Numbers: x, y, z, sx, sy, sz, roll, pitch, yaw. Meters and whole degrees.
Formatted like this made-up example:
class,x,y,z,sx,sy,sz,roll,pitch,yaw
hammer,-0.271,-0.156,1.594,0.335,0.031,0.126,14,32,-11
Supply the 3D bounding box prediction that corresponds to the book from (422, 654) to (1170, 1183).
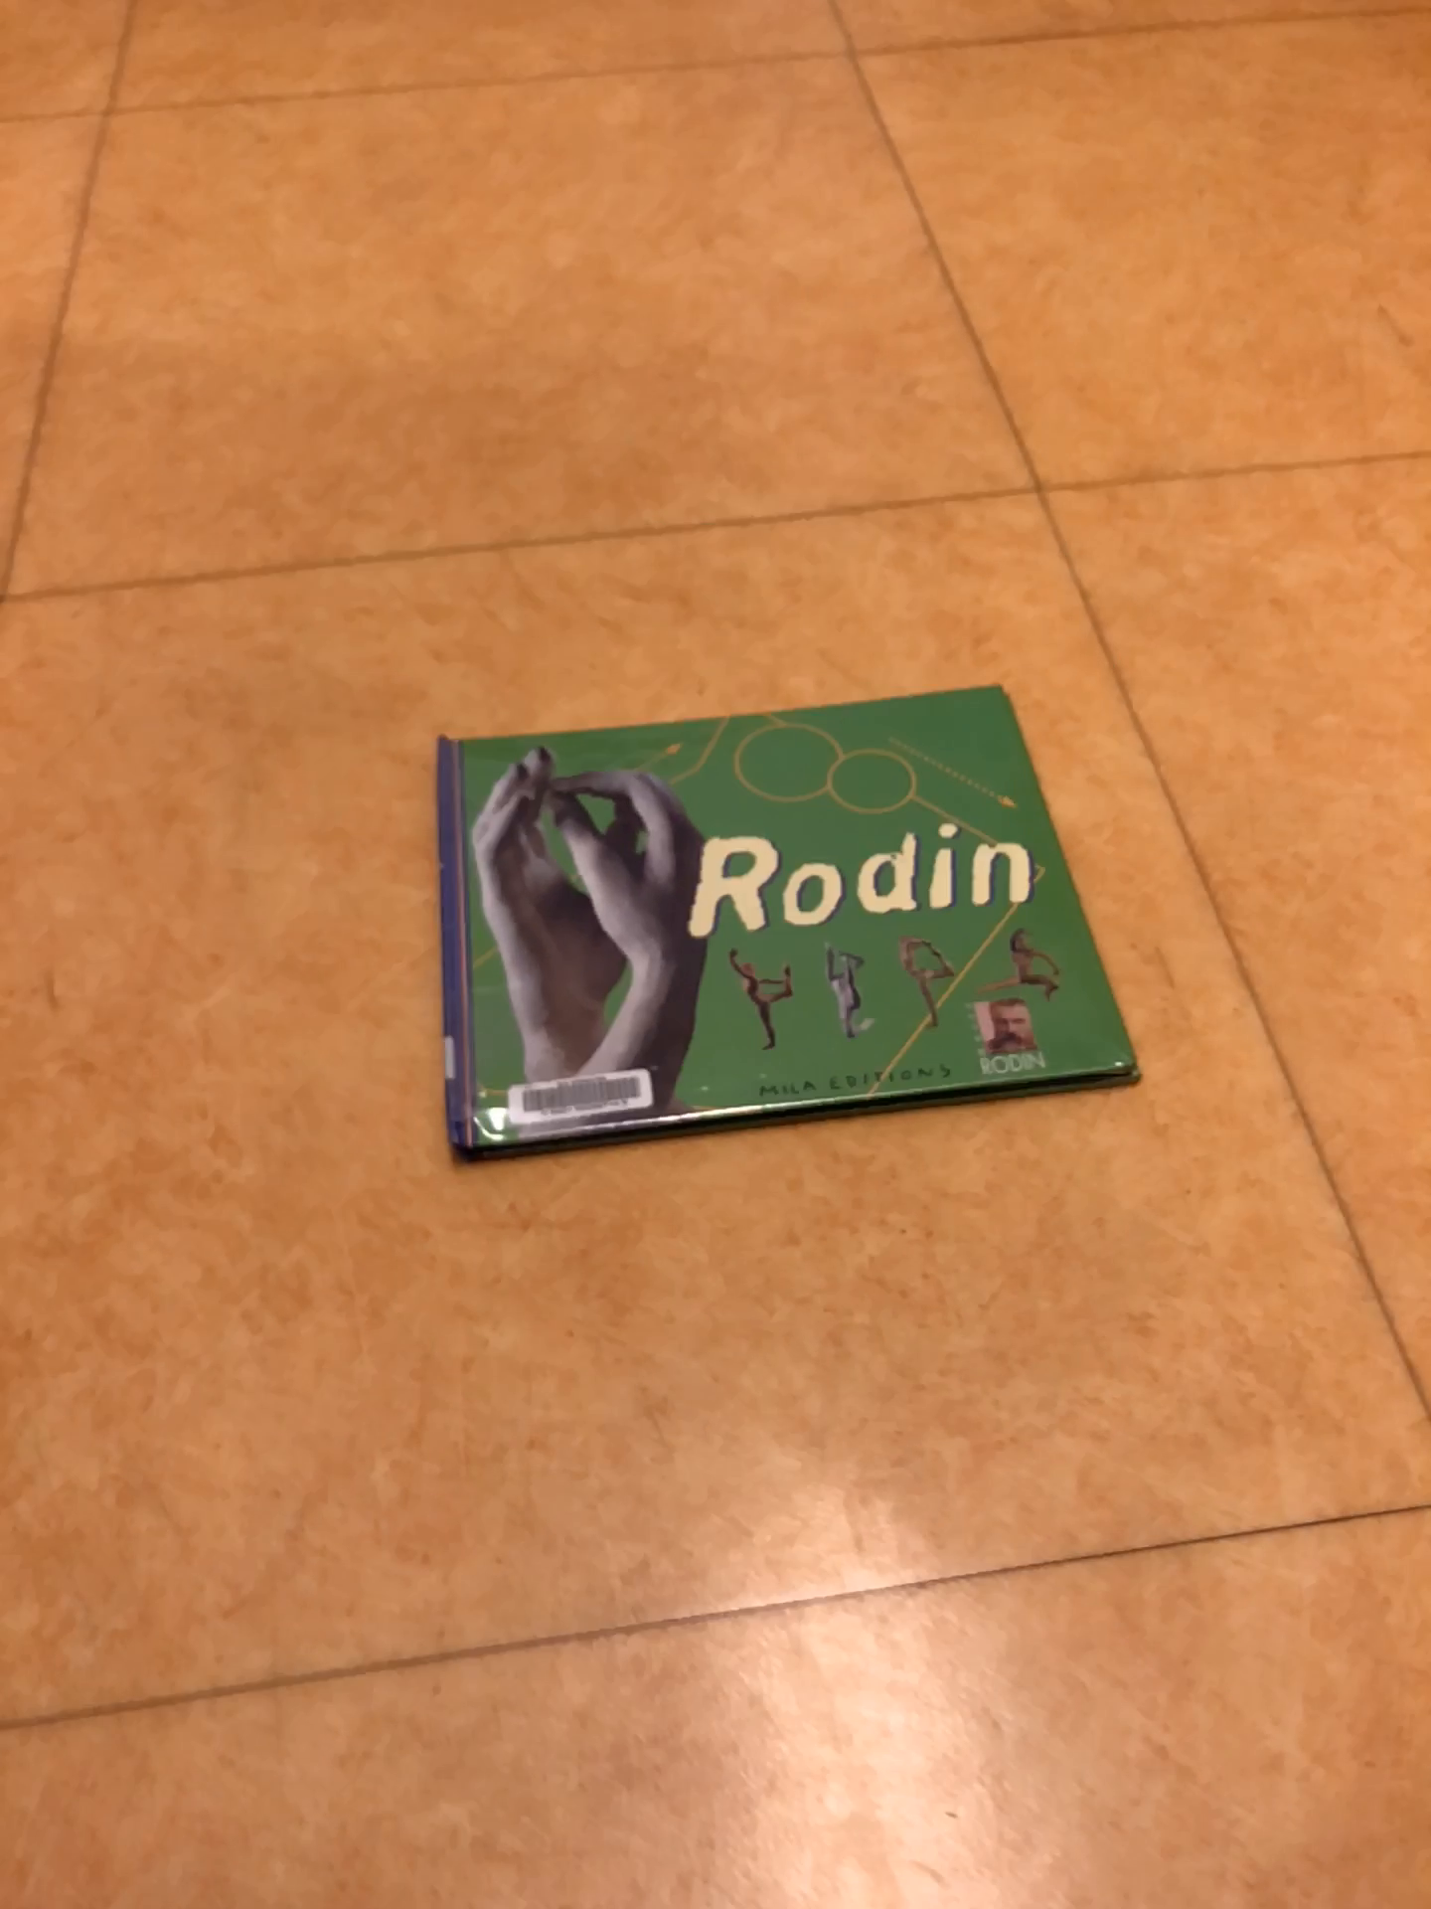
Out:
class,x,y,z,sx,sy,sz,roll,pitch,yaw
book,0.017,-0.023,0.587,0.243,0.030,0.201,-6,52,-5
